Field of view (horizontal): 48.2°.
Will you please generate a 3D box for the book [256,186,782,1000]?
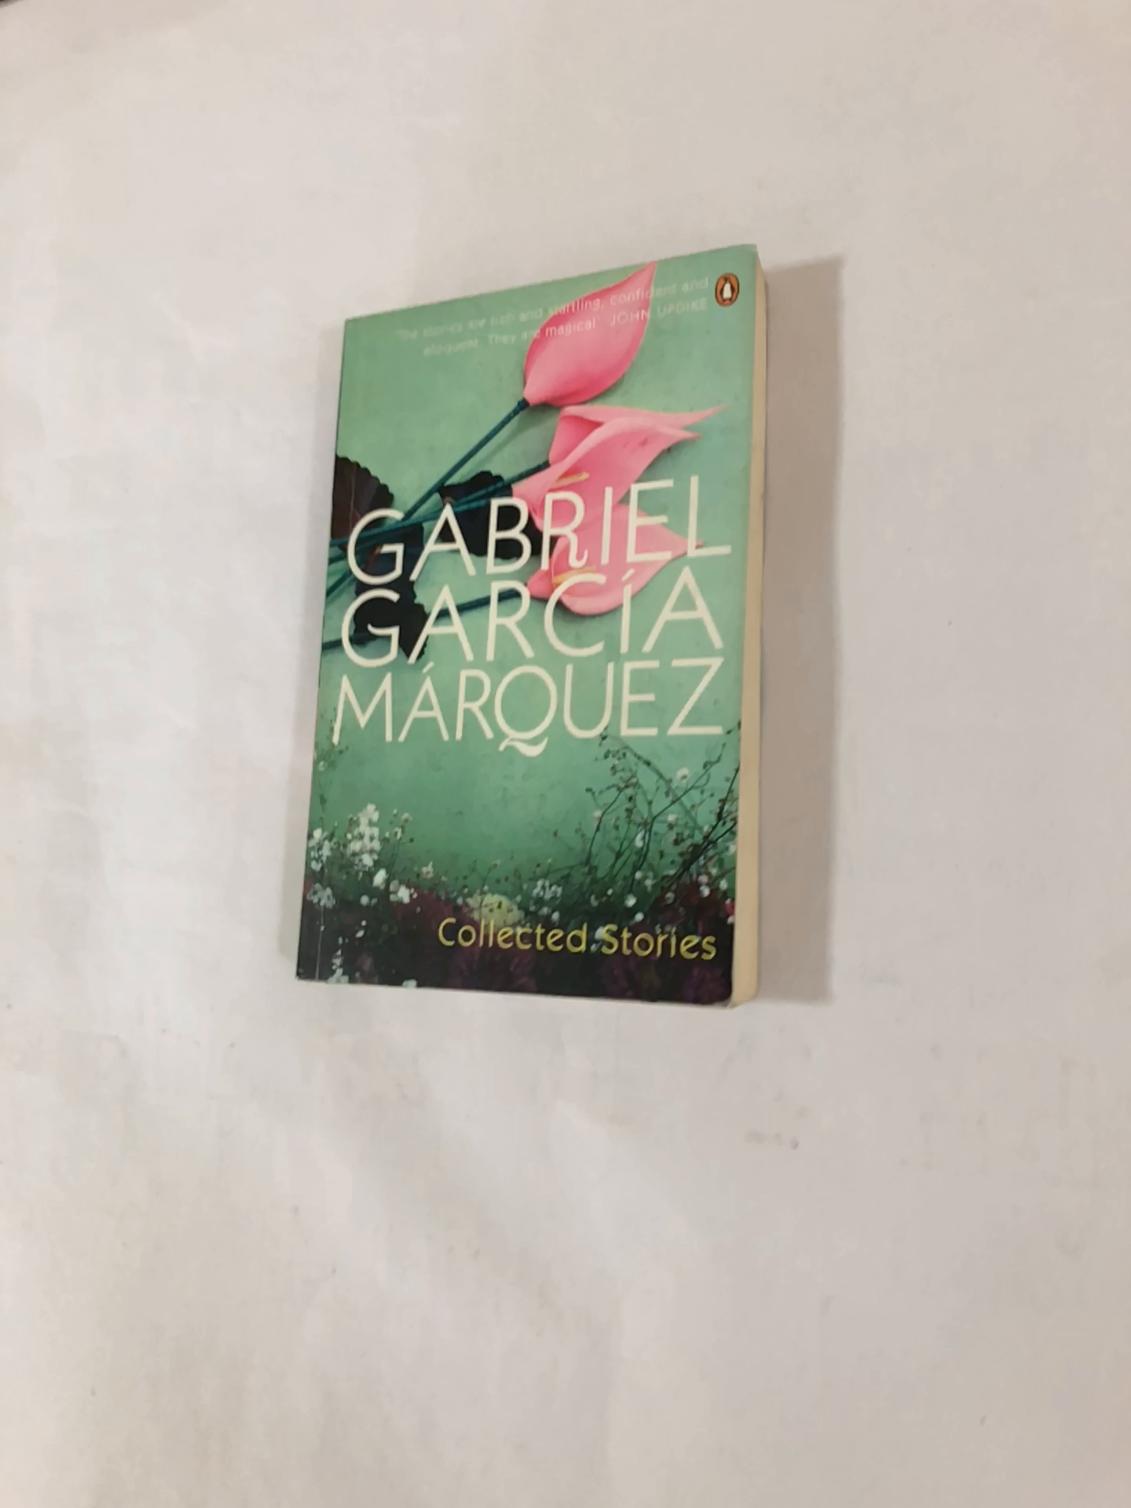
[{"bbox_3d":[-0.012,-0.039,0.339,0.130,0.030,0.200,-2,79,24],"label":"book"}]
